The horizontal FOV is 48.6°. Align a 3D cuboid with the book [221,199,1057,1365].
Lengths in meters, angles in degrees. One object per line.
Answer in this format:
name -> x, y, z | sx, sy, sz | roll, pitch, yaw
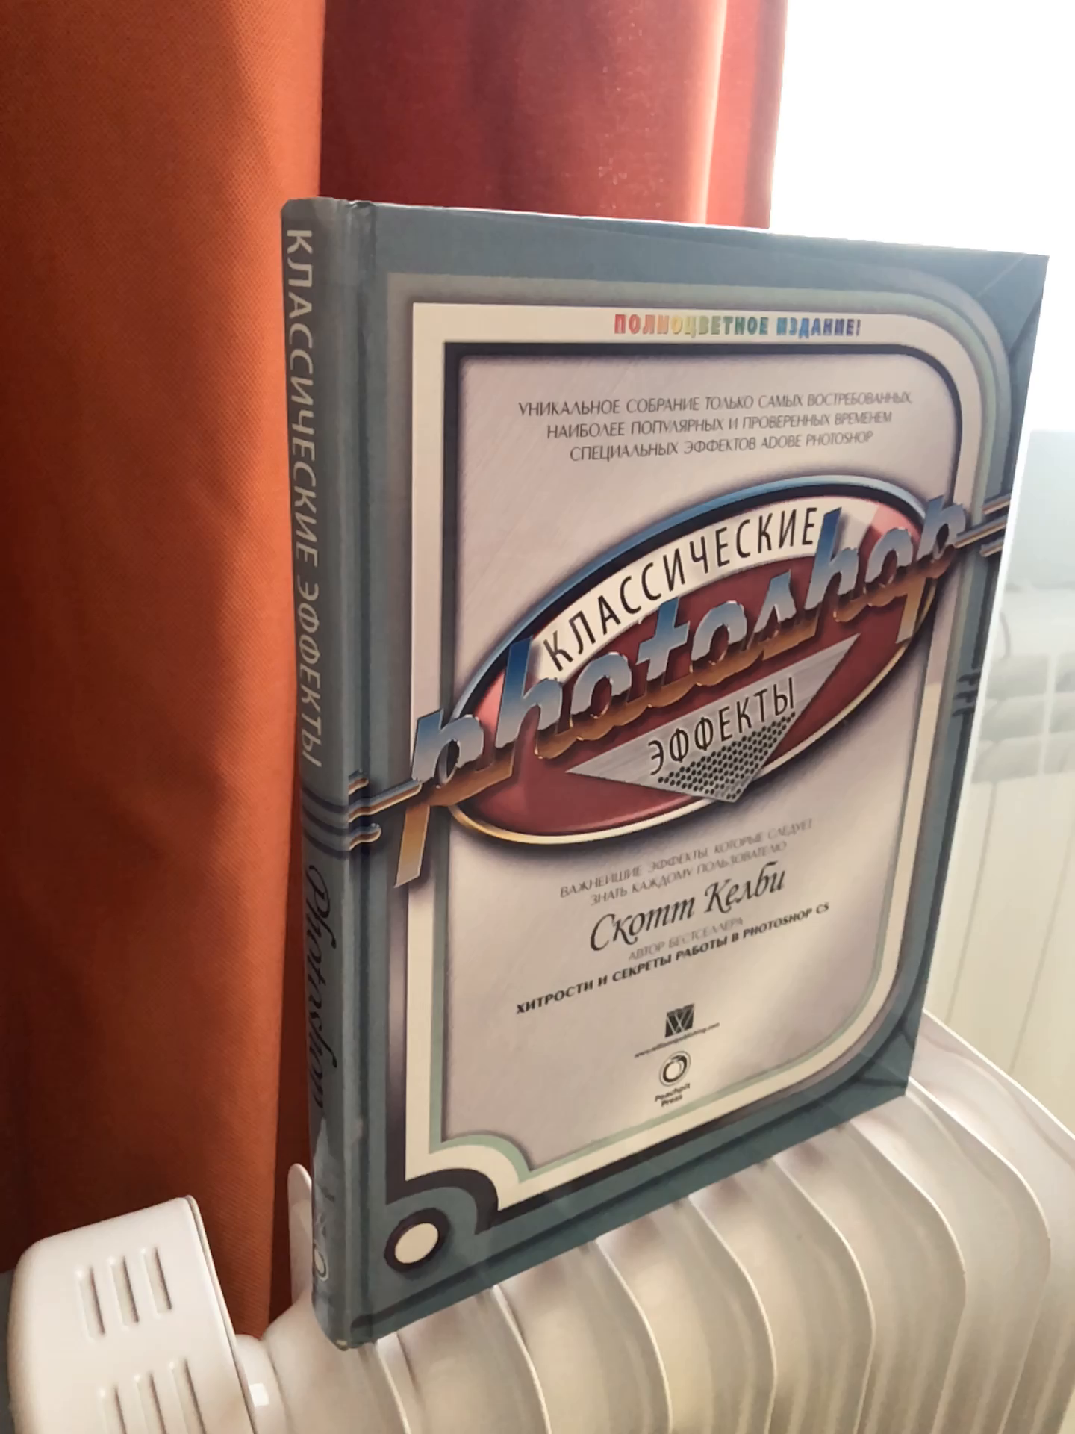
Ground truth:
book -> 0.033, 0.013, 0.334 | 0.225, 0.276, 0.040 | -10, 24, -32
